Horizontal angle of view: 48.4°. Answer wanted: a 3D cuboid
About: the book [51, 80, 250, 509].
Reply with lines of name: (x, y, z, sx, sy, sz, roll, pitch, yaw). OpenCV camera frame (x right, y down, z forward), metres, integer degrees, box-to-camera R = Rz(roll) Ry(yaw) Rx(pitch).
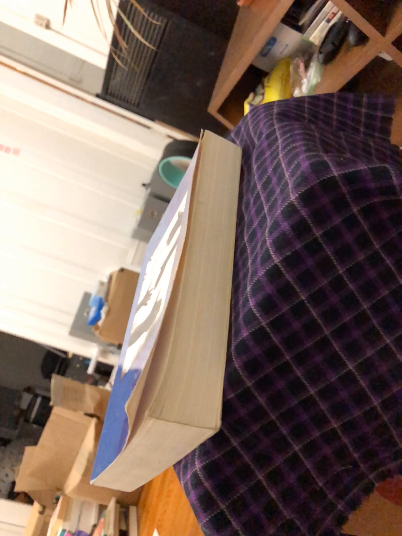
book: (-0.035, 0.018, 0.337, 0.200, 0.040, 0.261, 126, 159, -47)
